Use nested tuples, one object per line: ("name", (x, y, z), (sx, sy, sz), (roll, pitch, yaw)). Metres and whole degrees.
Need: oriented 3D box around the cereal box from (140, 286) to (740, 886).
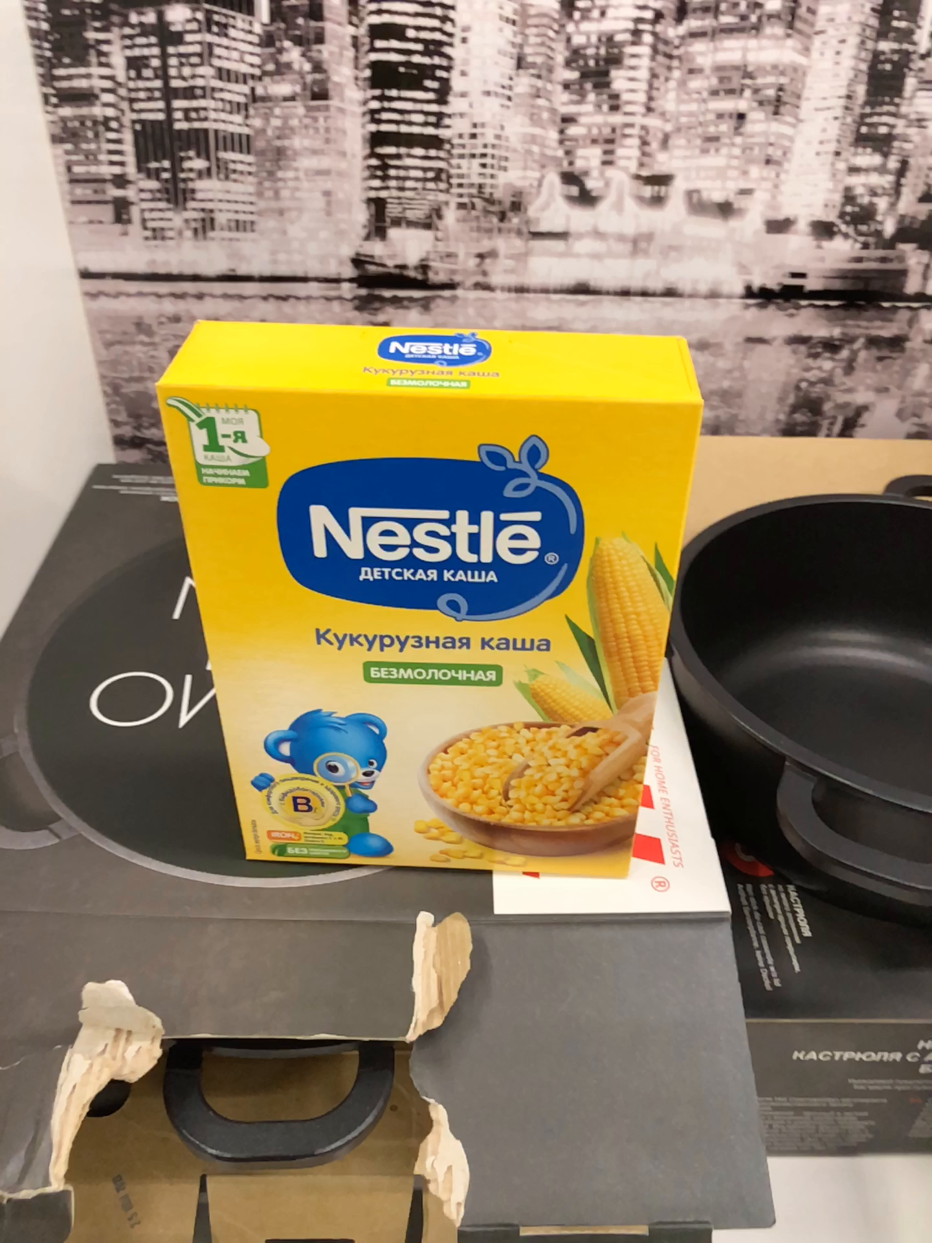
("cereal box", (-0.007, -0.001, 0.337), (0.150, 0.199, 0.050), (2, 37, 2))
